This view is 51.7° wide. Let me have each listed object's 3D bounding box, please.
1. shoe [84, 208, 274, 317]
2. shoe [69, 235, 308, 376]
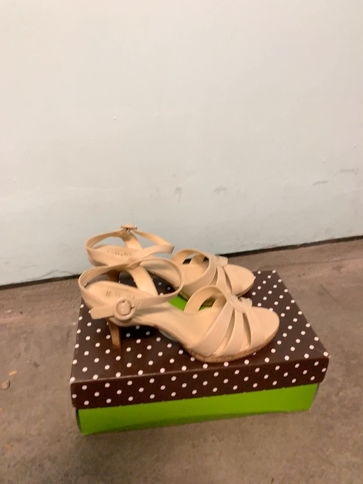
[{"bbox_3d":[-0.007,0.025,0.540,0.240,0.109,0.101,-2,28,-7],"label":"shoe"},{"bbox_3d":[0.004,0.069,0.442,0.240,0.109,0.101,-2,28,-7],"label":"shoe"}]
